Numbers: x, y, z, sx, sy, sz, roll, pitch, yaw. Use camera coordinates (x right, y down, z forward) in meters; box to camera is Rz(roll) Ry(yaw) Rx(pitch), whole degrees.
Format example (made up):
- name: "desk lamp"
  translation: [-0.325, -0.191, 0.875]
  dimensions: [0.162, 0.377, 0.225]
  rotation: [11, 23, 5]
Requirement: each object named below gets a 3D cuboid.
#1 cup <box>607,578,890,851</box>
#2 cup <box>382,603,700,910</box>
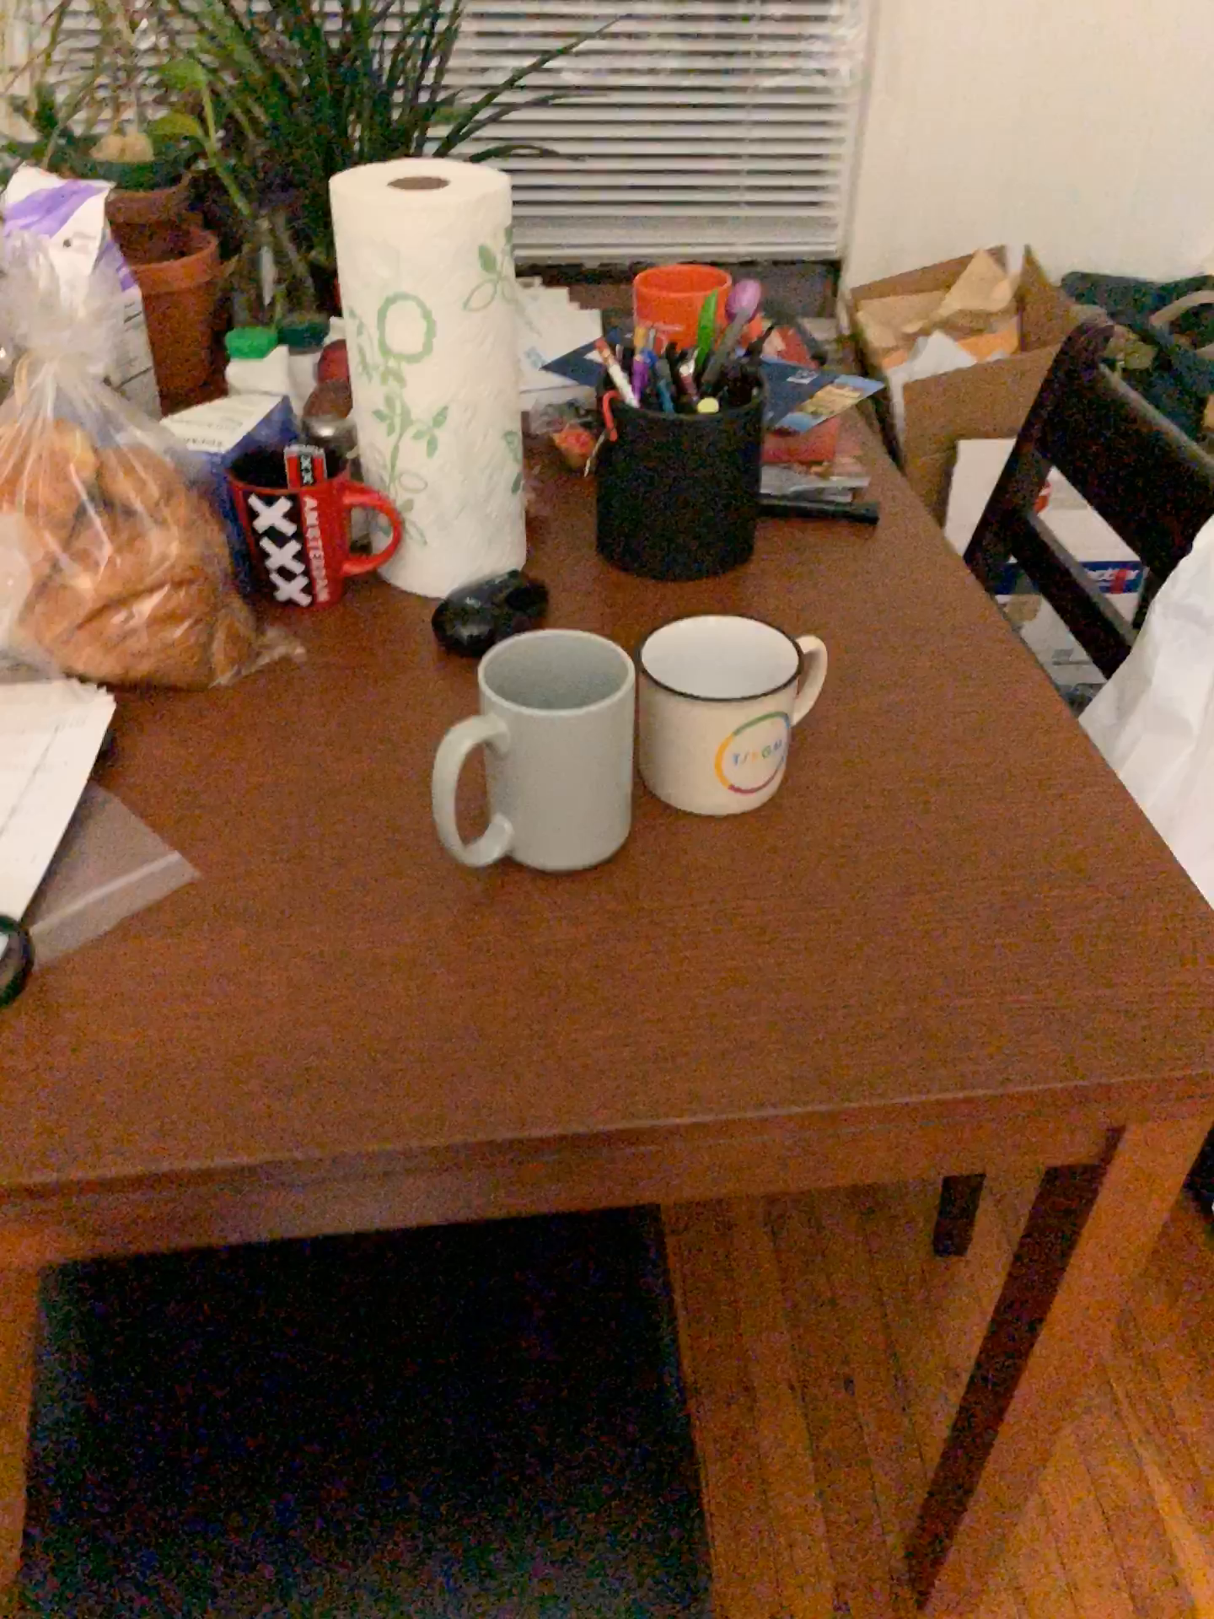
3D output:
- name: "cup"
  translation: [0.080, -0.060, 0.748]
  dimensions: [0.130, 0.099, 0.101]
  rotation: [-15, 41, -18]
- name: "cup"
  translation: [-0.036, -0.033, 0.686]
  dimensions: [0.140, 0.099, 0.101]
  rotation: [-16, 41, -19]
